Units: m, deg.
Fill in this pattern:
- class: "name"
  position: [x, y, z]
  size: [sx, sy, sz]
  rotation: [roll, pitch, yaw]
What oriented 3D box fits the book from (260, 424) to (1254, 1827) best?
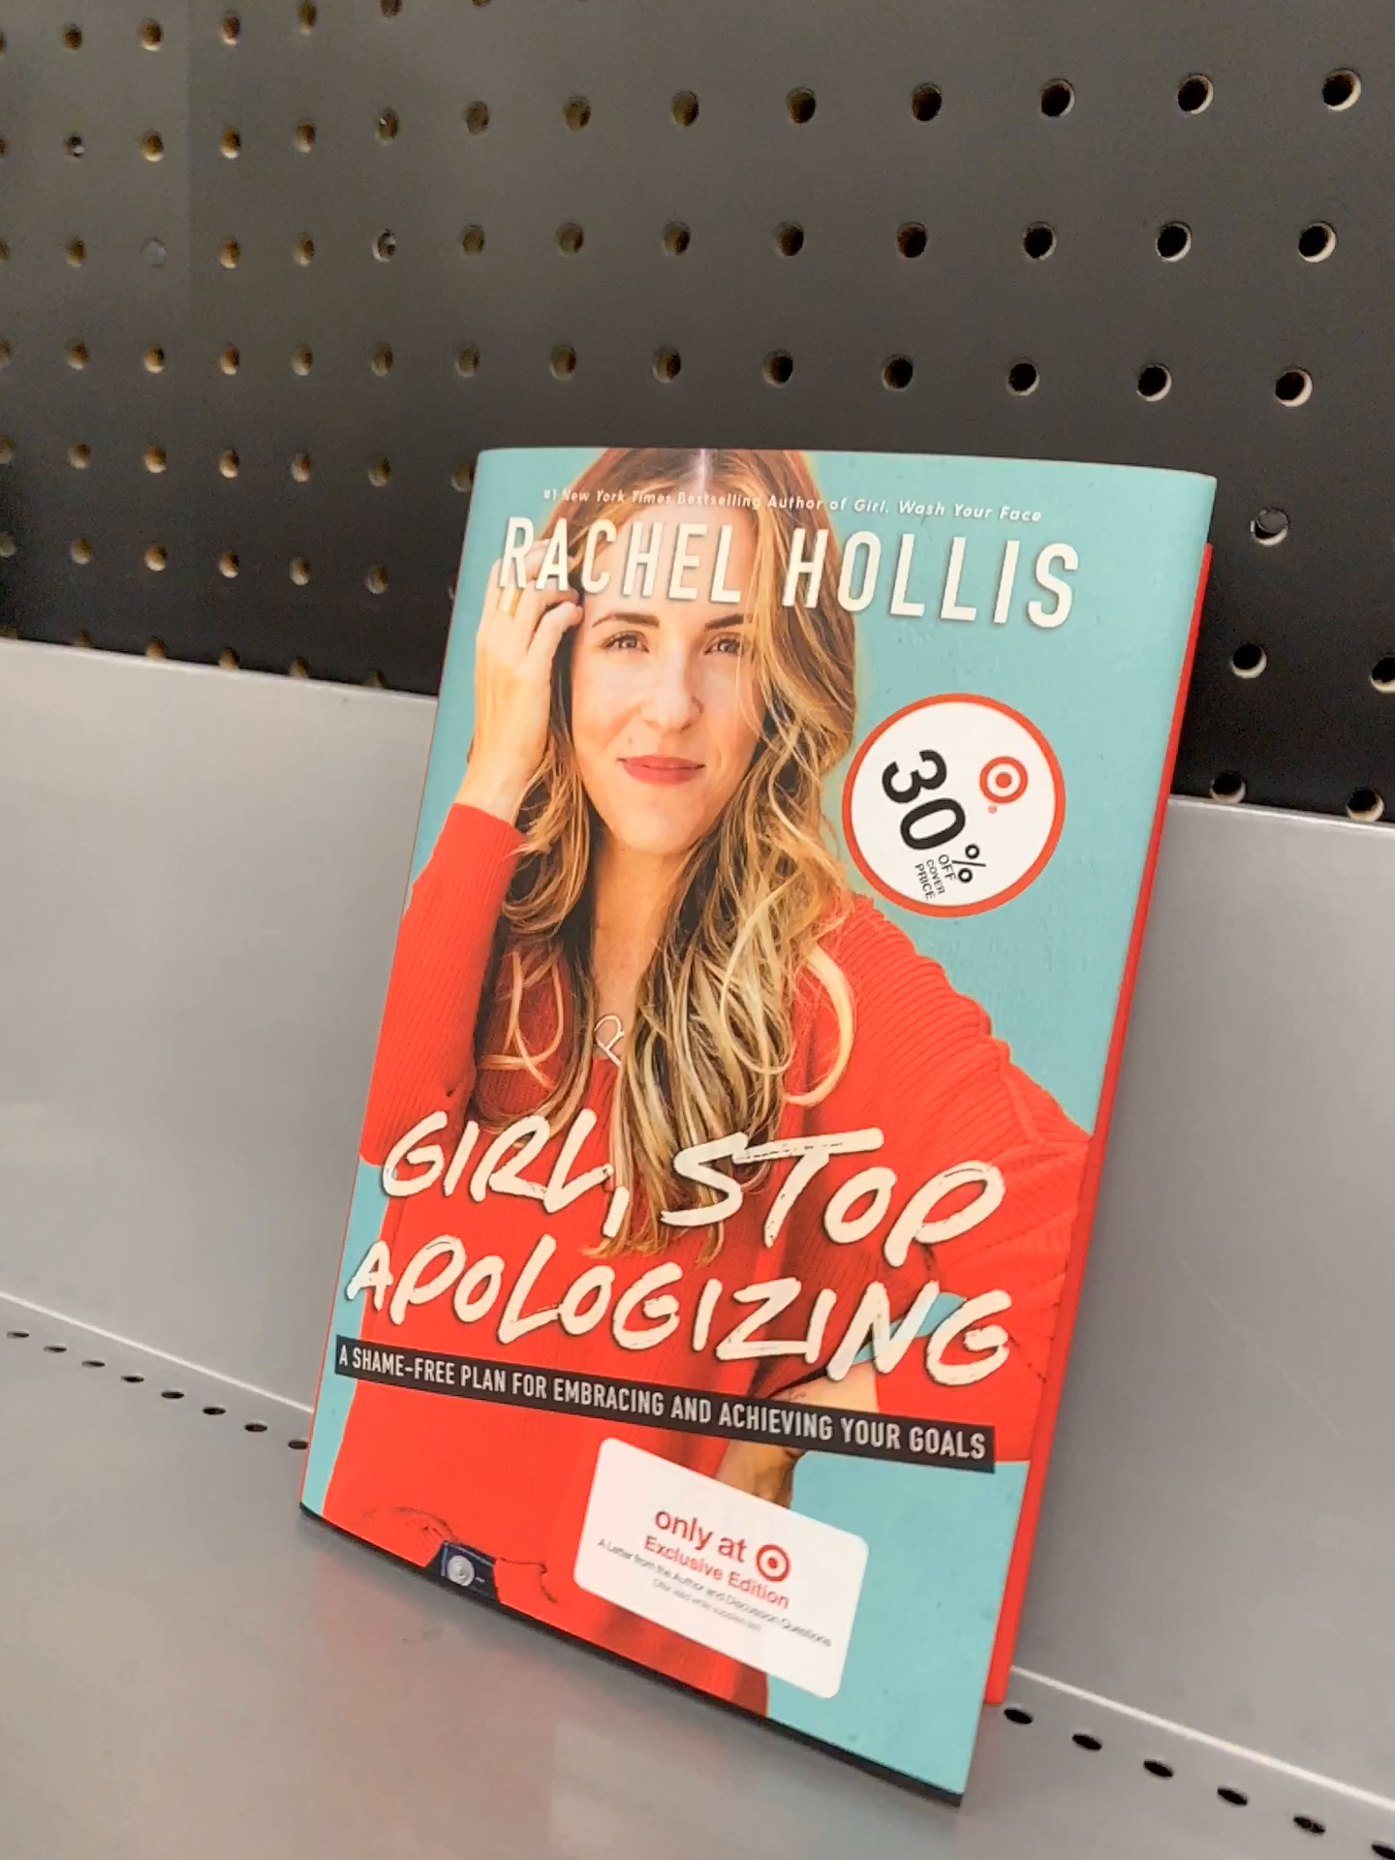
- class: "book"
  position: [0.005, 0.021, 0.275]
  size: [0.149, 0.220, 0.035]
  rotation: [11, 1, 26]
